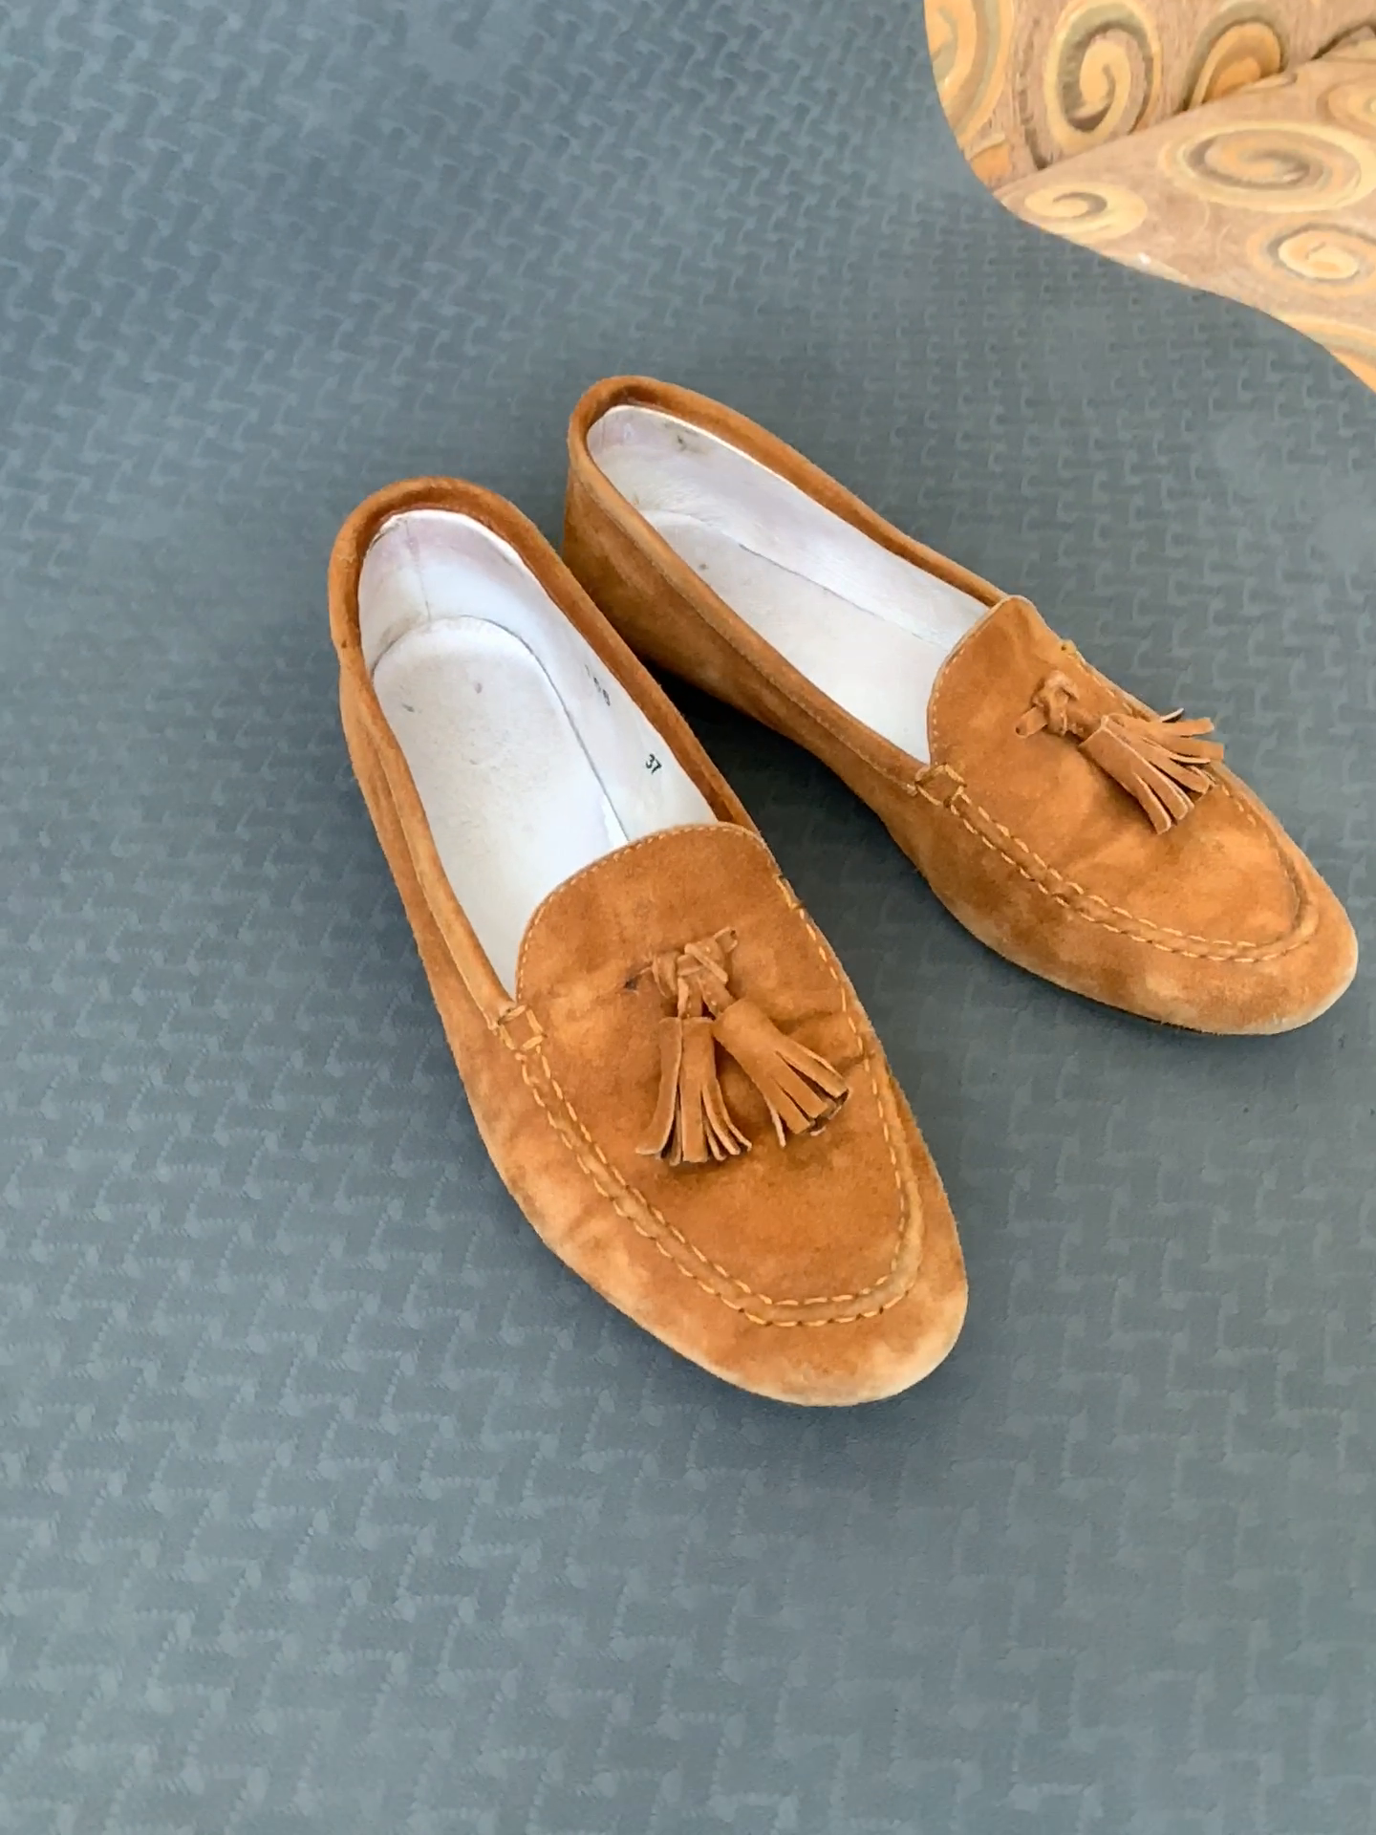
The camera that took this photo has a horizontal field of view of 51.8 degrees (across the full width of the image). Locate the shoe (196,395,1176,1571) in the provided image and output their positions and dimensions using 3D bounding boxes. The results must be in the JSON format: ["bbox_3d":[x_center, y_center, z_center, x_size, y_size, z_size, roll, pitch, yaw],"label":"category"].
[{"bbox_3d":[-0.016,0.002,0.310,0.090,0.090,0.231,-24,60,-16],"label":"shoe"}]

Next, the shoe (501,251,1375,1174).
[{"bbox_3d":[0.070,-0.061,0.364,0.240,0.090,0.090,40,64,22],"label":"shoe"}]
